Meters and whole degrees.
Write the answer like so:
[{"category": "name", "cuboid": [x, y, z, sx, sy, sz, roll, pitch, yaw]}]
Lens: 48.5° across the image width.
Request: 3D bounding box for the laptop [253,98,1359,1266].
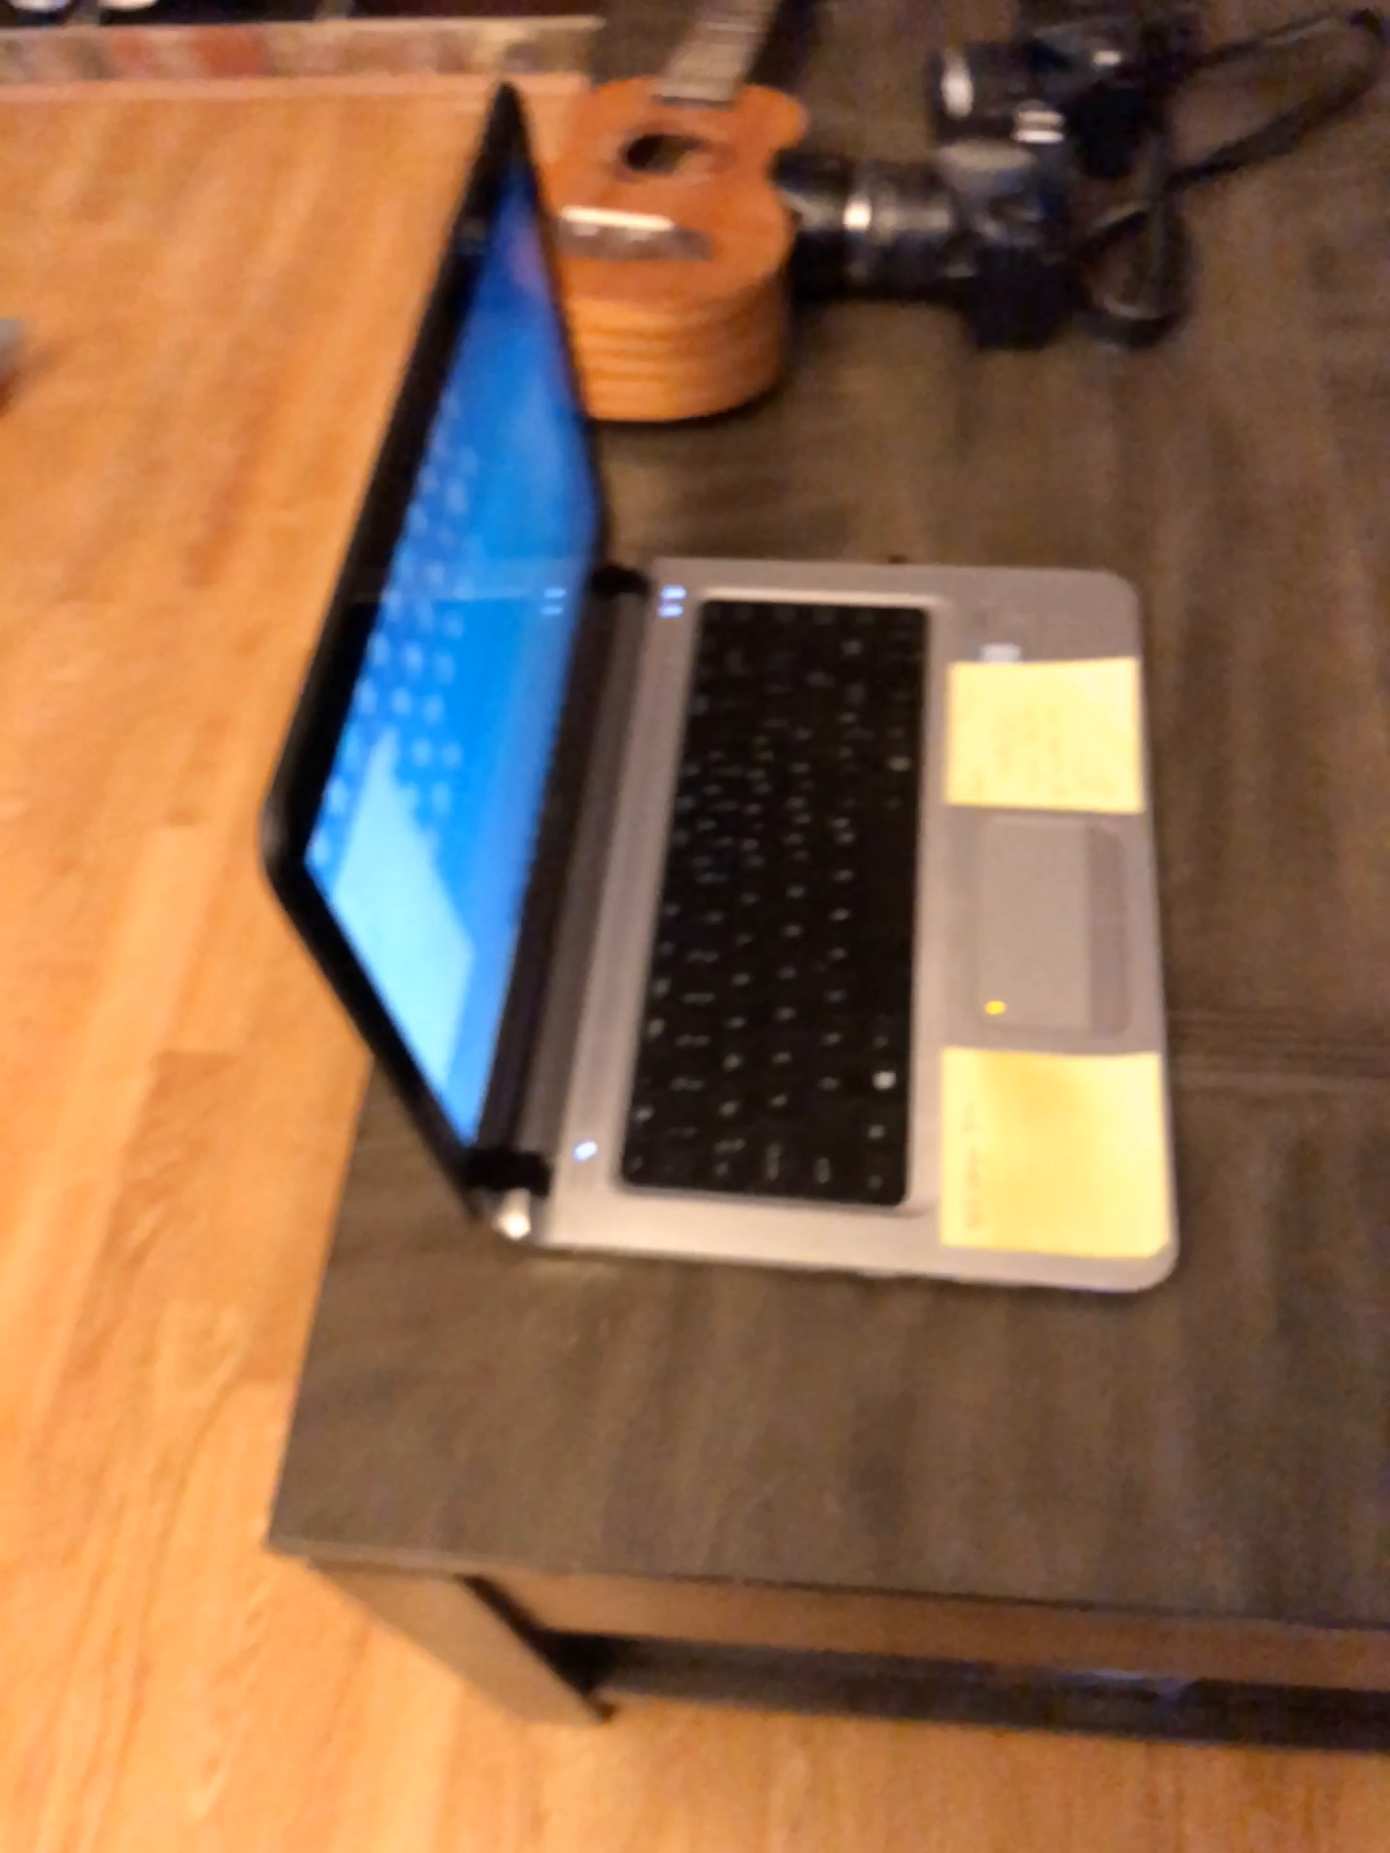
[{"category": "laptop", "cuboid": [0.043, -0.085, 0.522, 0.246, 0.217, 0.318, 3, 57, 5]}]
